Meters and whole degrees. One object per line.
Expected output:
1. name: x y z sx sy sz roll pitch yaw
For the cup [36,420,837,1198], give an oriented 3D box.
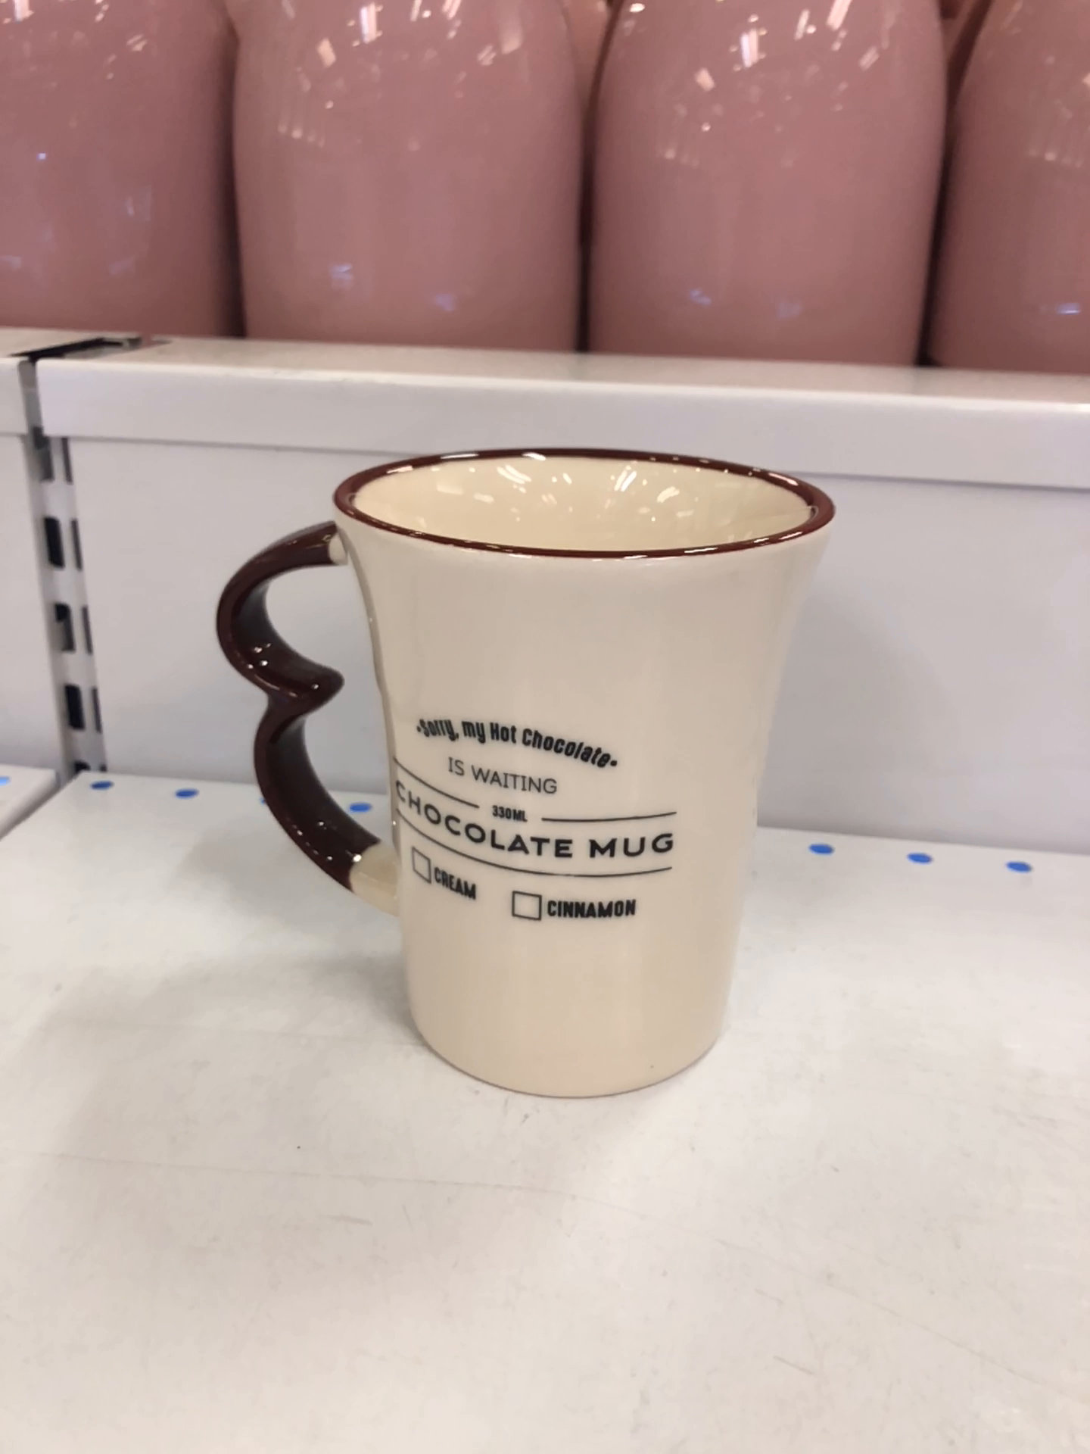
1. cup: -0.012 0.006 0.238 0.120 0.109 0.091 6 22 10
